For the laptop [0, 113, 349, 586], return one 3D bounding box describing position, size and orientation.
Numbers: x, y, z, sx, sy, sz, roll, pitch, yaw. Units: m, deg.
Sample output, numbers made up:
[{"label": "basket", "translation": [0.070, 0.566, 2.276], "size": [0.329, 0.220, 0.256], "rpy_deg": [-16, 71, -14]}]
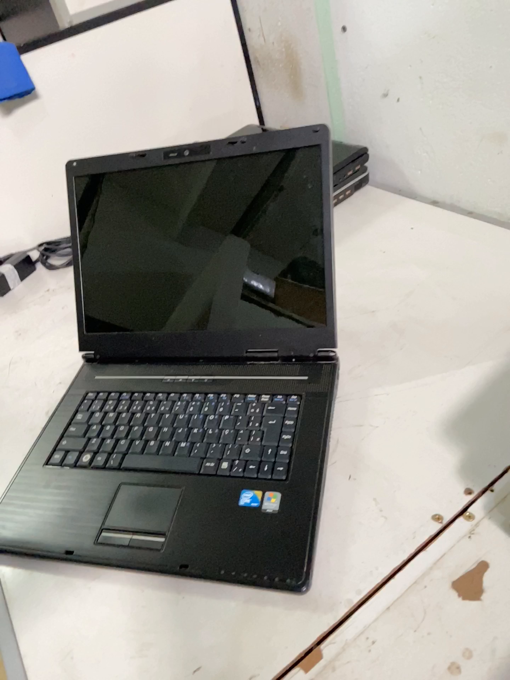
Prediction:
[{"label": "laptop", "translation": [-0.106, -0.022, 0.578], "size": [0.351, 0.224, 0.431], "rpy_deg": [-1, 44, 19]}]
